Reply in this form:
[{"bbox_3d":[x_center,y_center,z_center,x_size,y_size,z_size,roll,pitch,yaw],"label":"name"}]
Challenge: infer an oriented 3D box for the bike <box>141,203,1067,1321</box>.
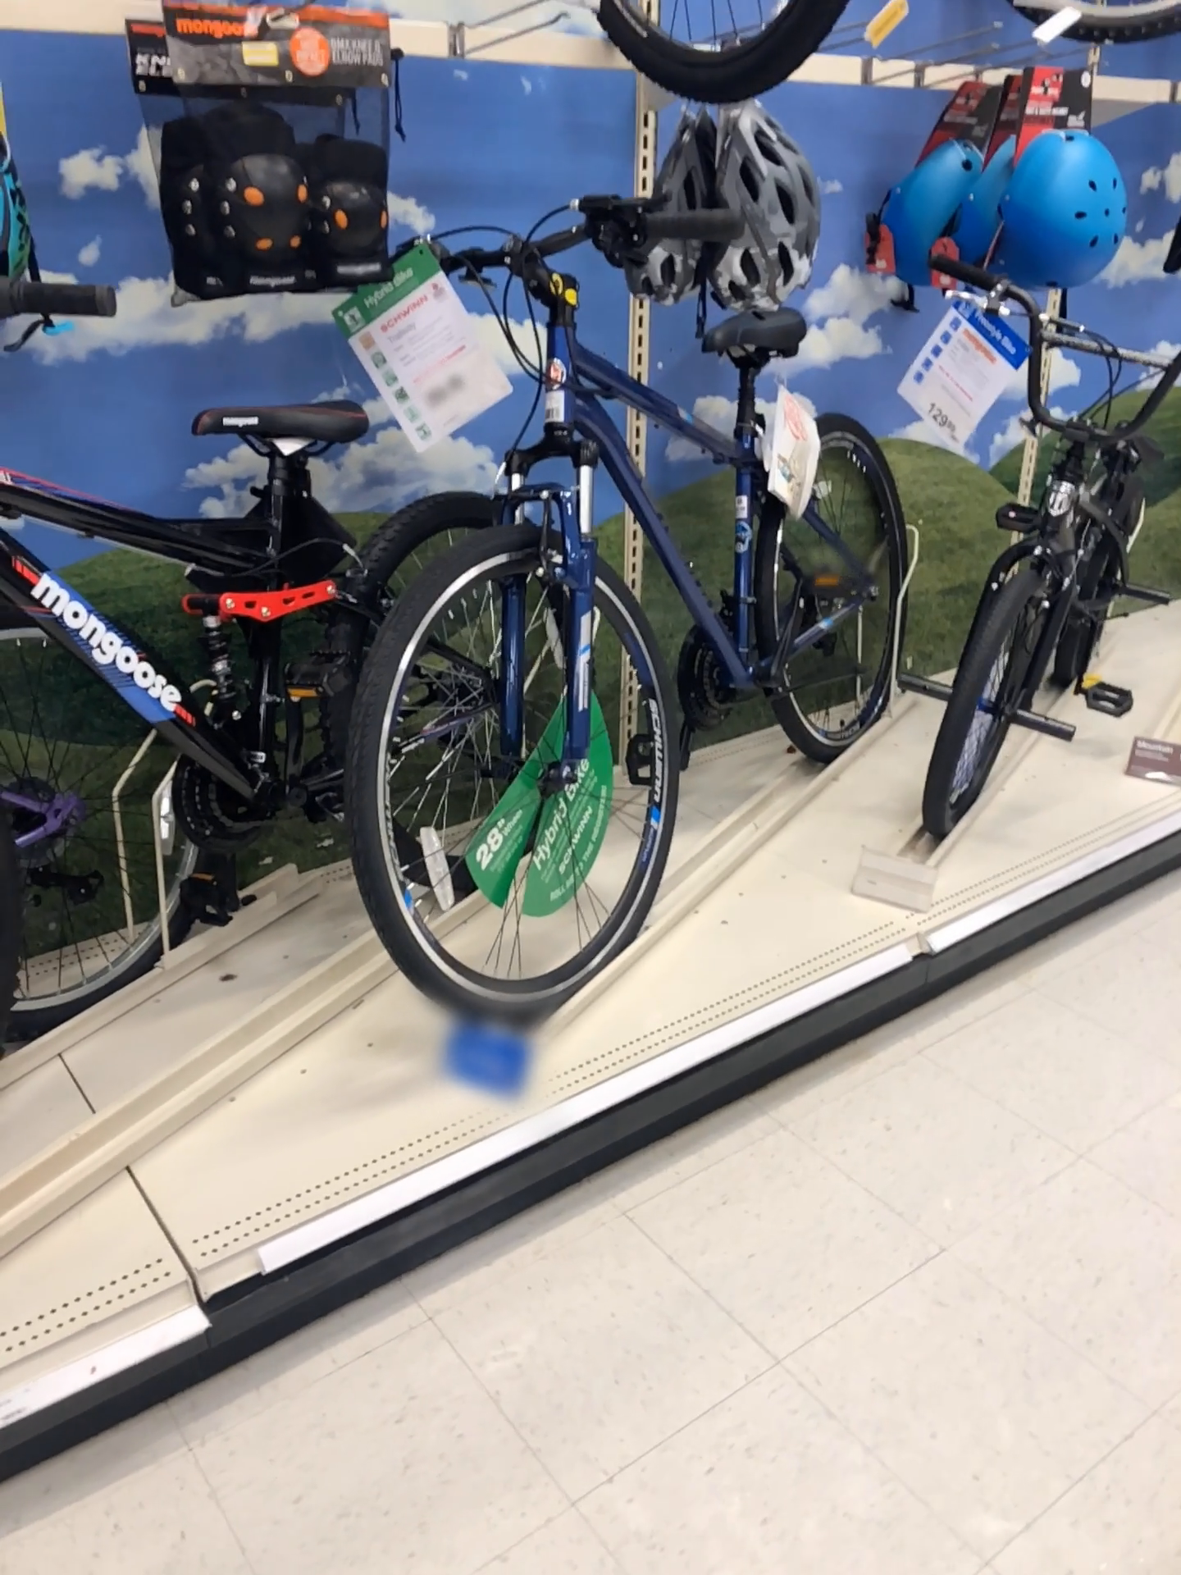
[{"bbox_3d":[0.203,-0.286,2.086,0.530,1.098,1.744,15,31,28],"label":"bike"}]
